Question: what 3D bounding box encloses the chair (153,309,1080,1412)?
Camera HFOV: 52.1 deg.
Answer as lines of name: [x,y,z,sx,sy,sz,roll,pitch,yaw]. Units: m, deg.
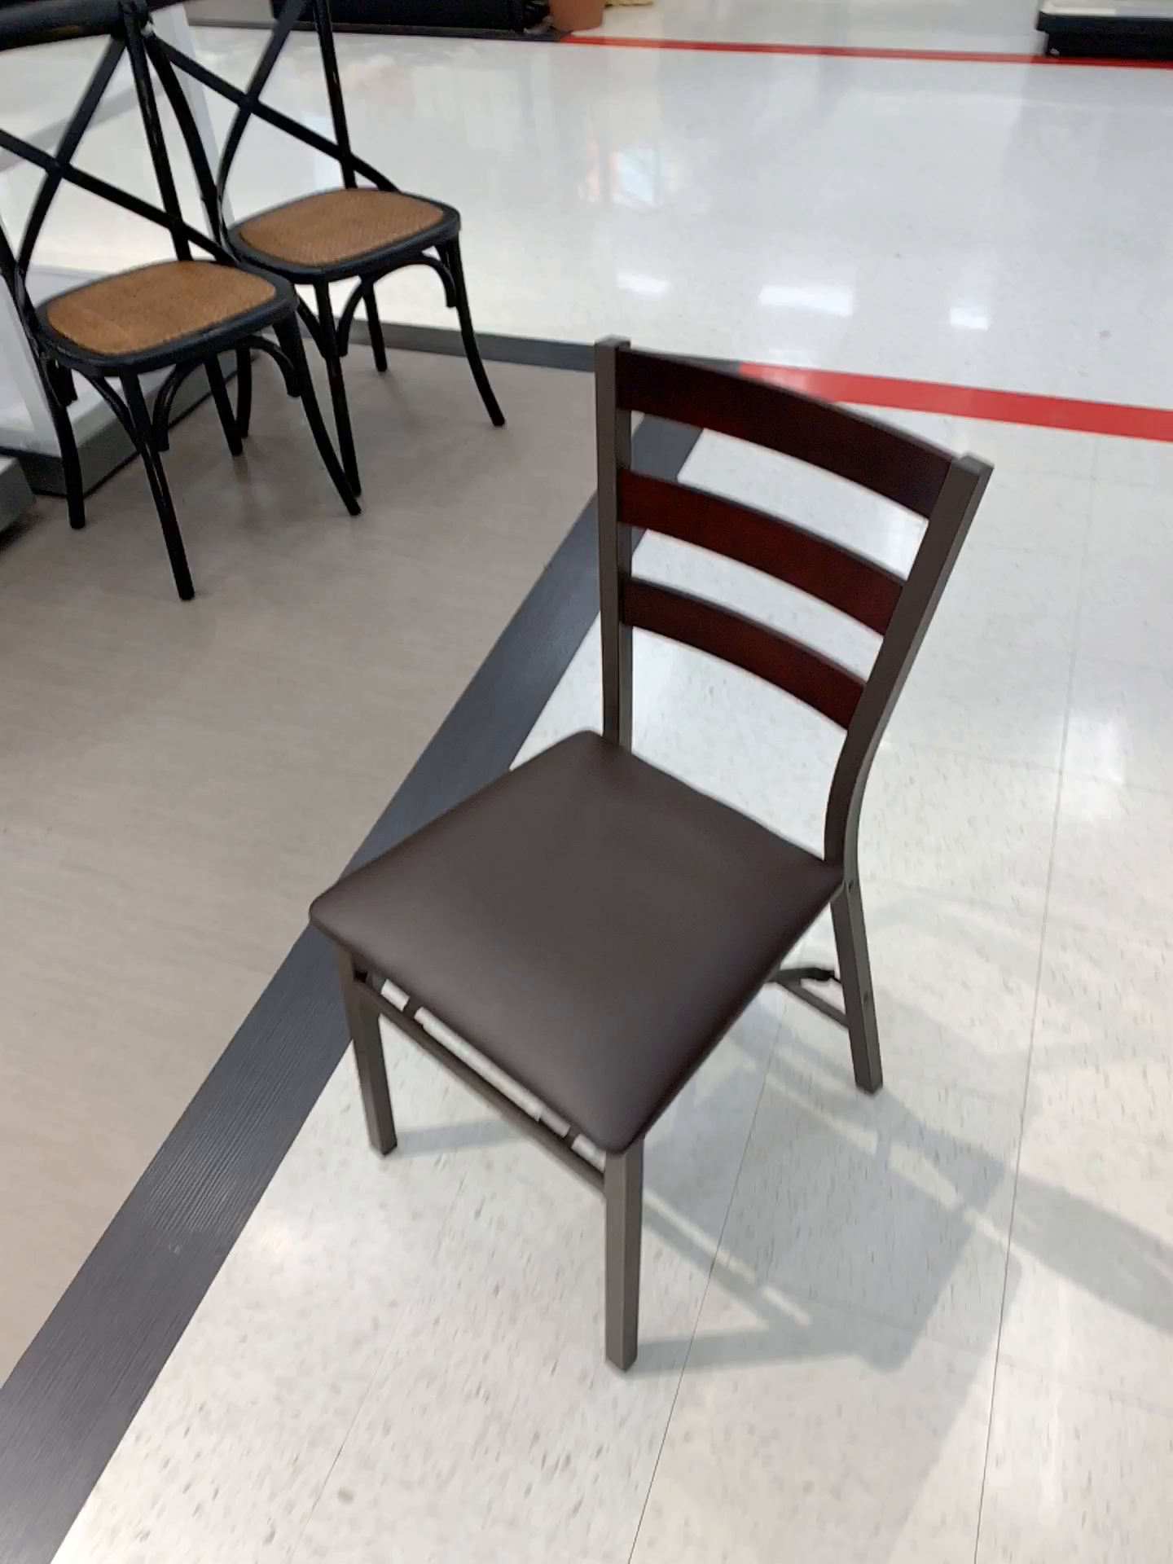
chair: [0.049,0.094,1.158,0.441,0.826,0.521,31,54,31]
